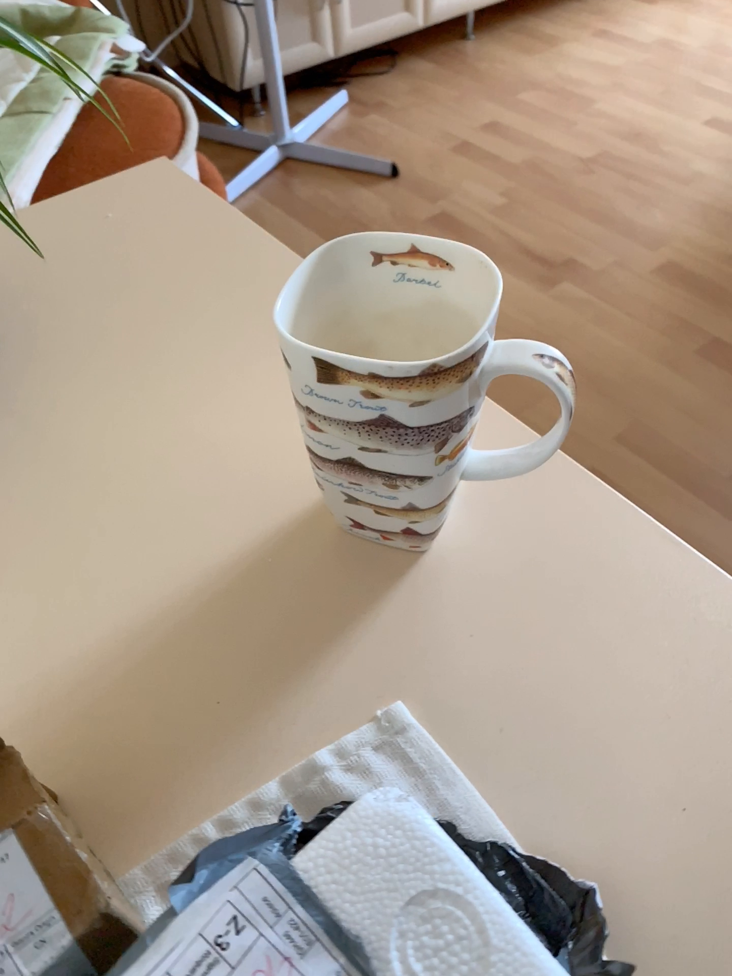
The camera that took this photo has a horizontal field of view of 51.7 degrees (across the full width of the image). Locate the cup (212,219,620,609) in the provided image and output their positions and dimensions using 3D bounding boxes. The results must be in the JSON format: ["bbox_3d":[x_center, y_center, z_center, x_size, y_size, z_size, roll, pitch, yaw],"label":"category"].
[{"bbox_3d":[0.026,-0.033,0.339,0.139,0.122,0.092,12,51,15],"label":"cup"}]
